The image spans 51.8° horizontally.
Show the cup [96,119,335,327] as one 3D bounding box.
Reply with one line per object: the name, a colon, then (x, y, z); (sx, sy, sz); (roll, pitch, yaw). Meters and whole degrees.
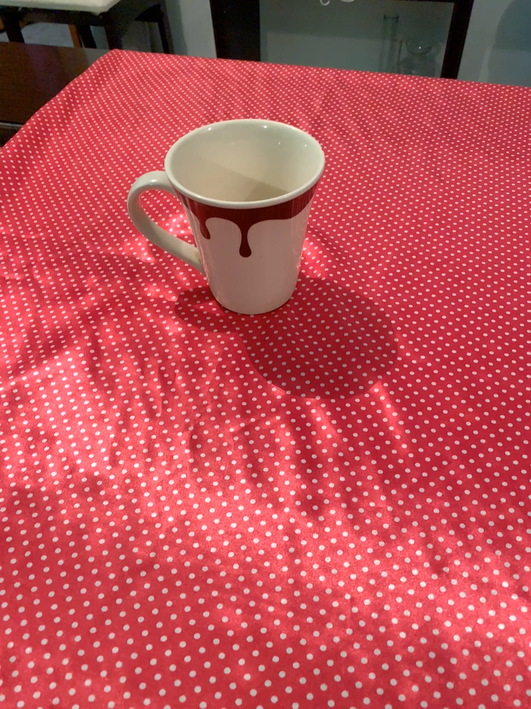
cup: (-0.023, -0.087, 0.361); (0.130, 0.090, 0.100); (2, 50, 4)
